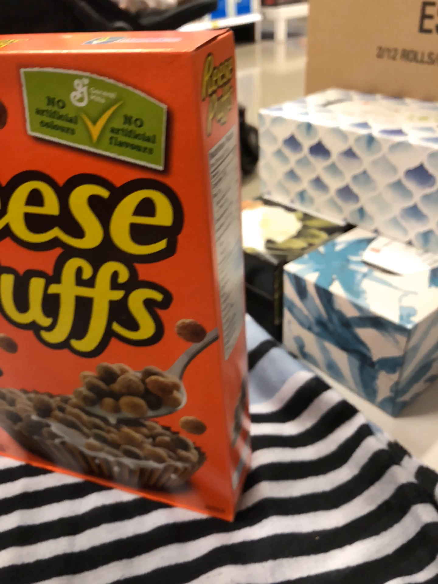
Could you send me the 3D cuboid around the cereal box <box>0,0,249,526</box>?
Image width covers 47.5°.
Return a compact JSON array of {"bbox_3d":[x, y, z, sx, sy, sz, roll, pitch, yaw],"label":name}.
[{"bbox_3d":[-0.094,0.002,0.271,0.210,0.269,0.040,8,35,18],"label":"cereal box"}]
